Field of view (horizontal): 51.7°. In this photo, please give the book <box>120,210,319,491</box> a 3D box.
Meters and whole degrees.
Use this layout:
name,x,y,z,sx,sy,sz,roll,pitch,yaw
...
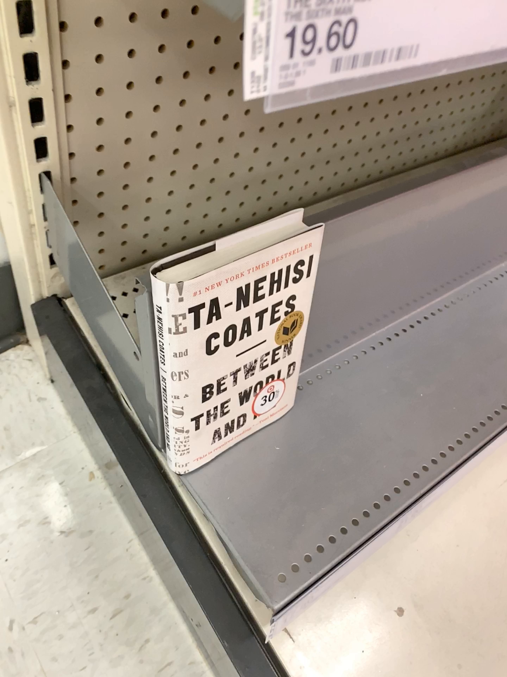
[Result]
name,x,y,z,sx,sy,sz,roll,pitch,yaw
book,-0.018,0.015,0.385,0.130,0.187,0.030,-27,49,-28
